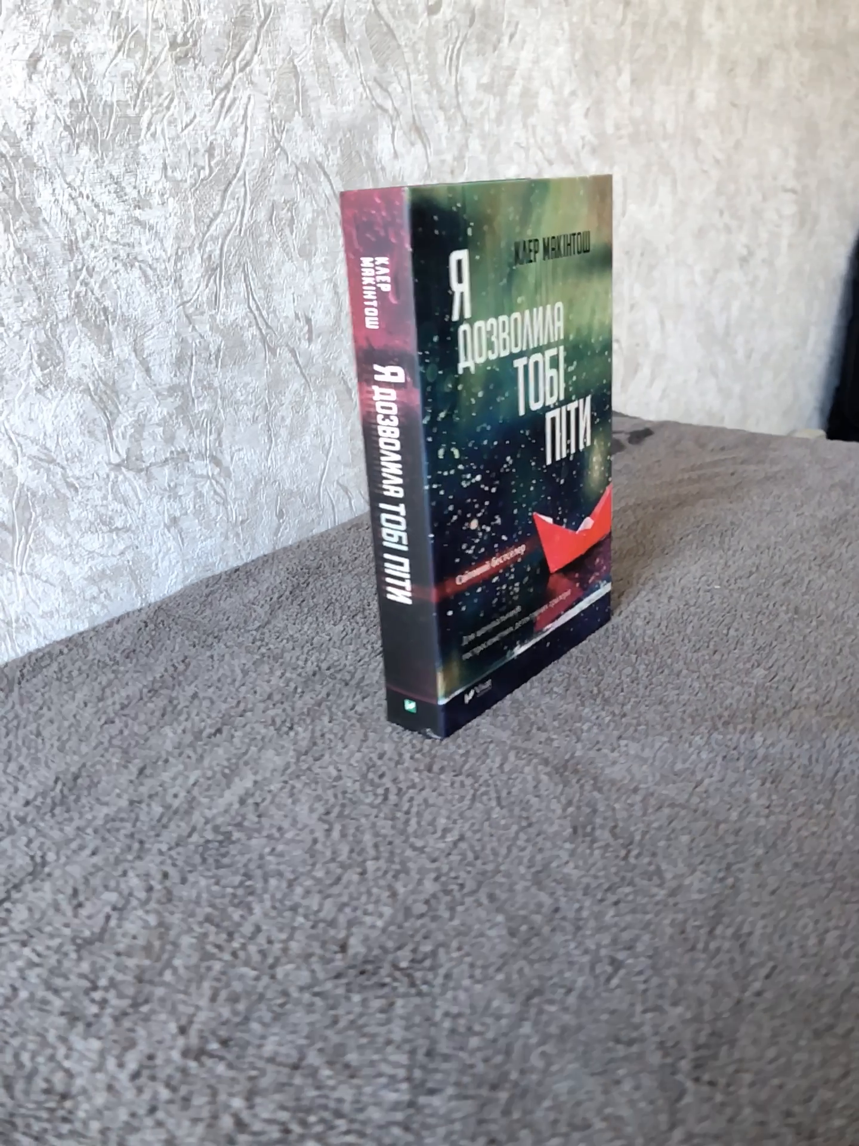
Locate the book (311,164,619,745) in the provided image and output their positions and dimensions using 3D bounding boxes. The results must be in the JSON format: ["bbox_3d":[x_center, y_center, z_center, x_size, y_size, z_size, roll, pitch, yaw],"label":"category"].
[{"bbox_3d":[0.025,-0.055,0.389,0.044,0.201,0.140,12,27,34],"label":"book"}]
